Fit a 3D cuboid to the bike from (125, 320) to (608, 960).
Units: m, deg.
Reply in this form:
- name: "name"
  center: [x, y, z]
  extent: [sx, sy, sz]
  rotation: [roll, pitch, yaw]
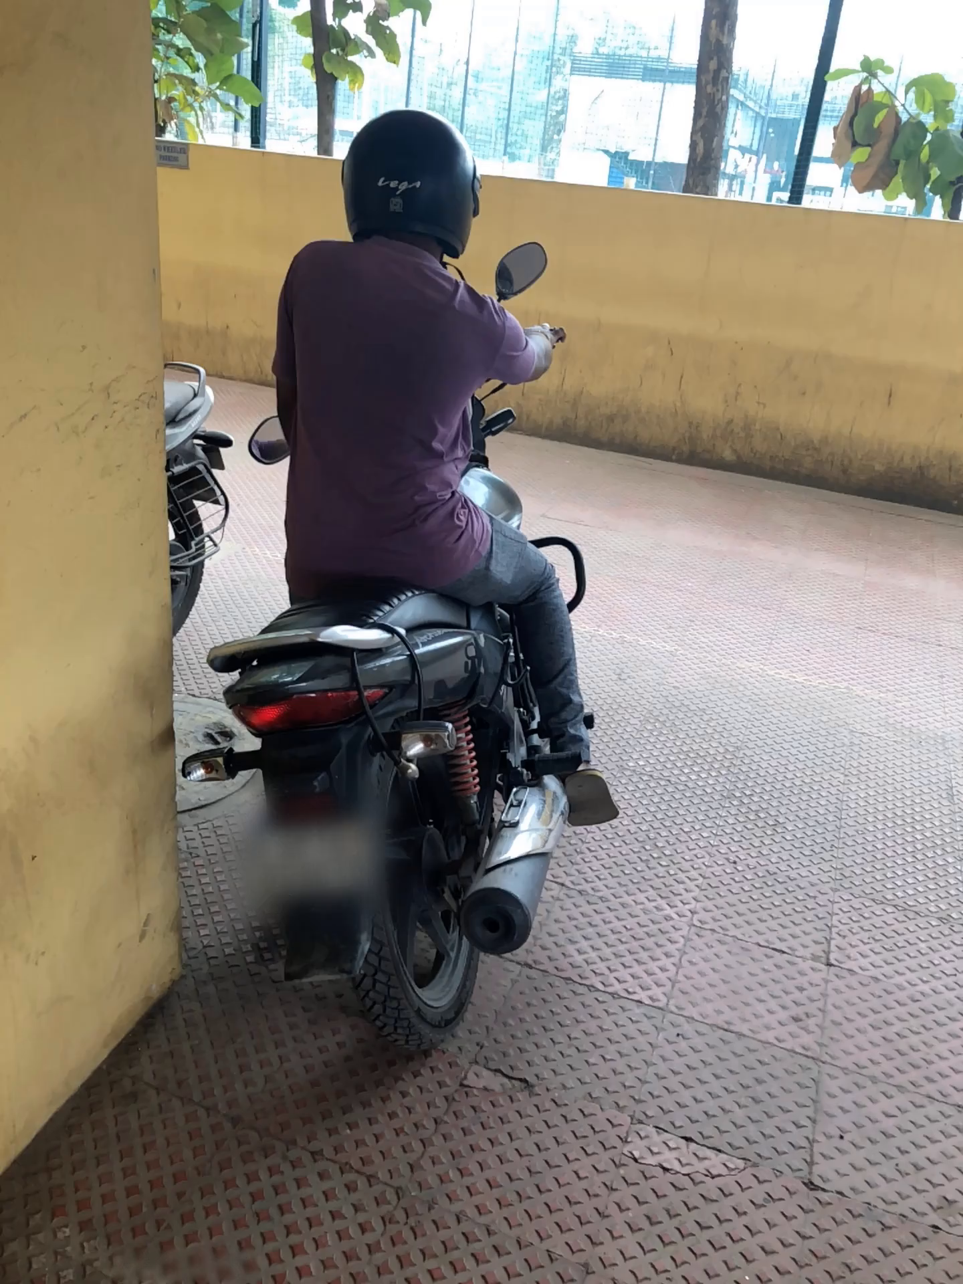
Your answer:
- name: "bike"
  center: [-0.155, -0.126, 2.357]
  extent: [0.699, 1.000, 1.244]
  rotation: [8, 22, 5]
